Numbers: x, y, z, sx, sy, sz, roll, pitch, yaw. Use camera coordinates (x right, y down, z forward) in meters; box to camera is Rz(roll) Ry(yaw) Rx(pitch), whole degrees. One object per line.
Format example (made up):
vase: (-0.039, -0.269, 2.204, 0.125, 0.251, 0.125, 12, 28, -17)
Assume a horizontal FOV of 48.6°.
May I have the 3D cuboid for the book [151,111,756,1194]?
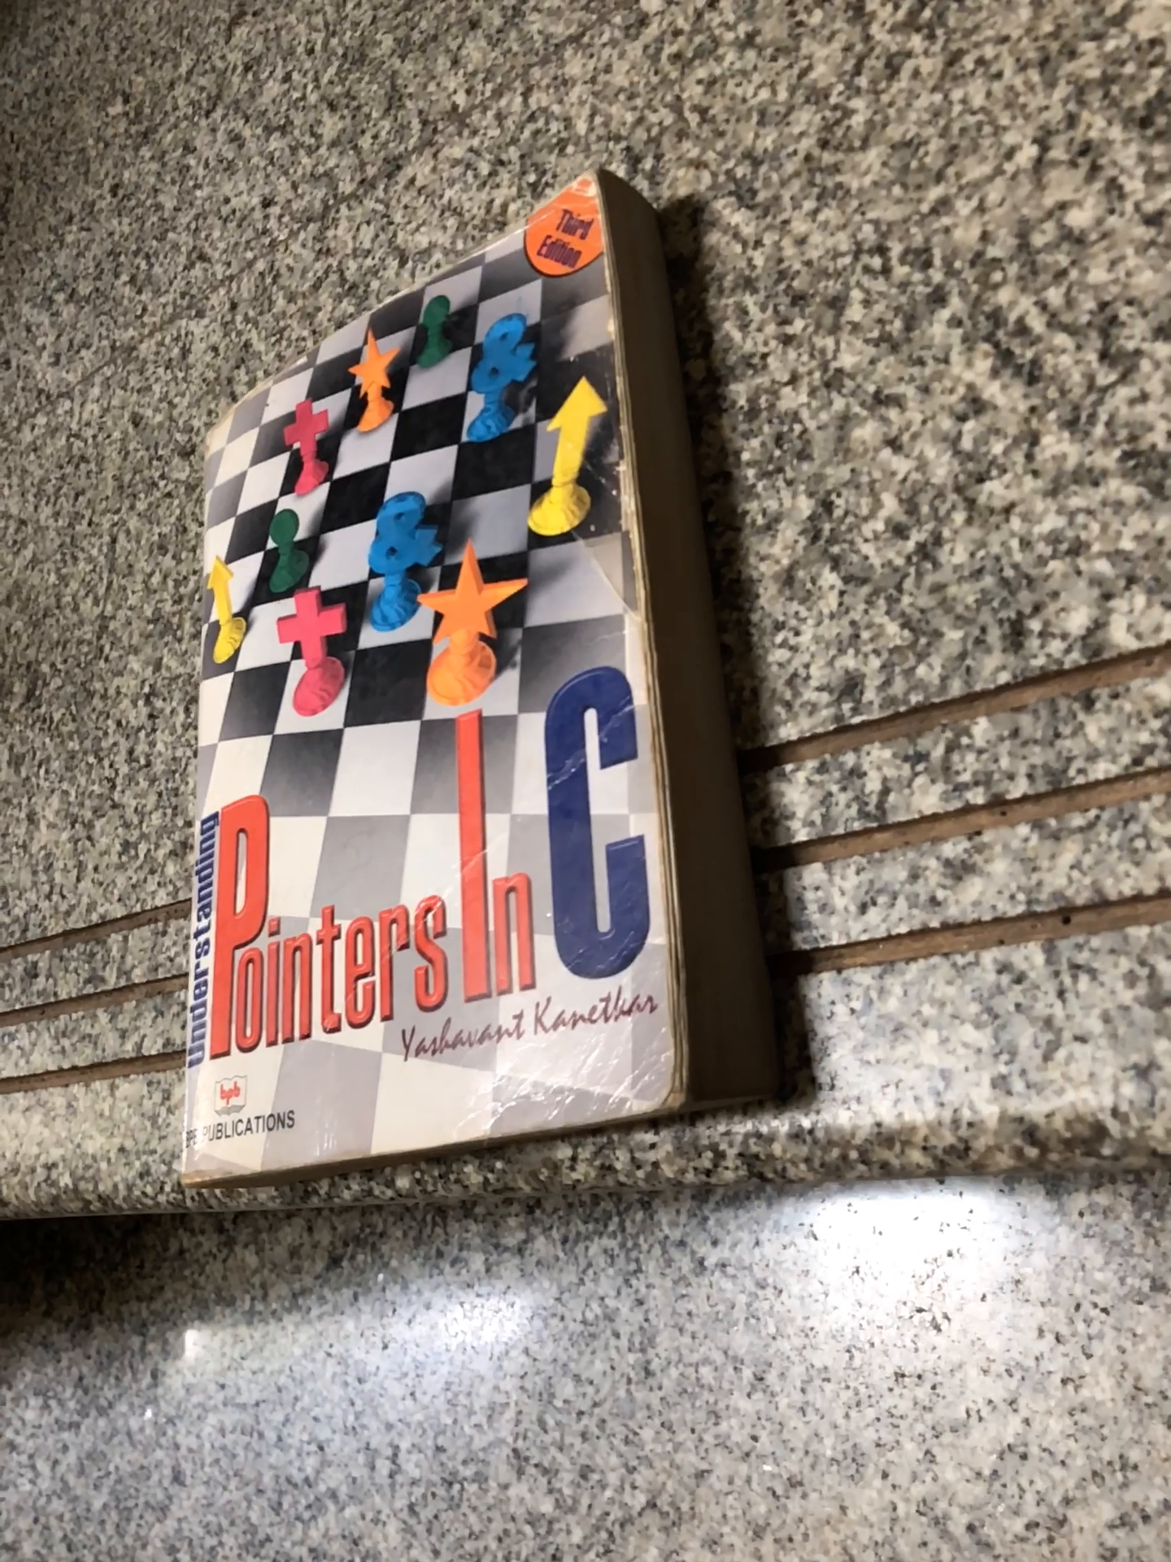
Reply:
book: (-0.039, -0.025, 0.302, 0.141, 0.030, 0.220, -19, 64, 35)
